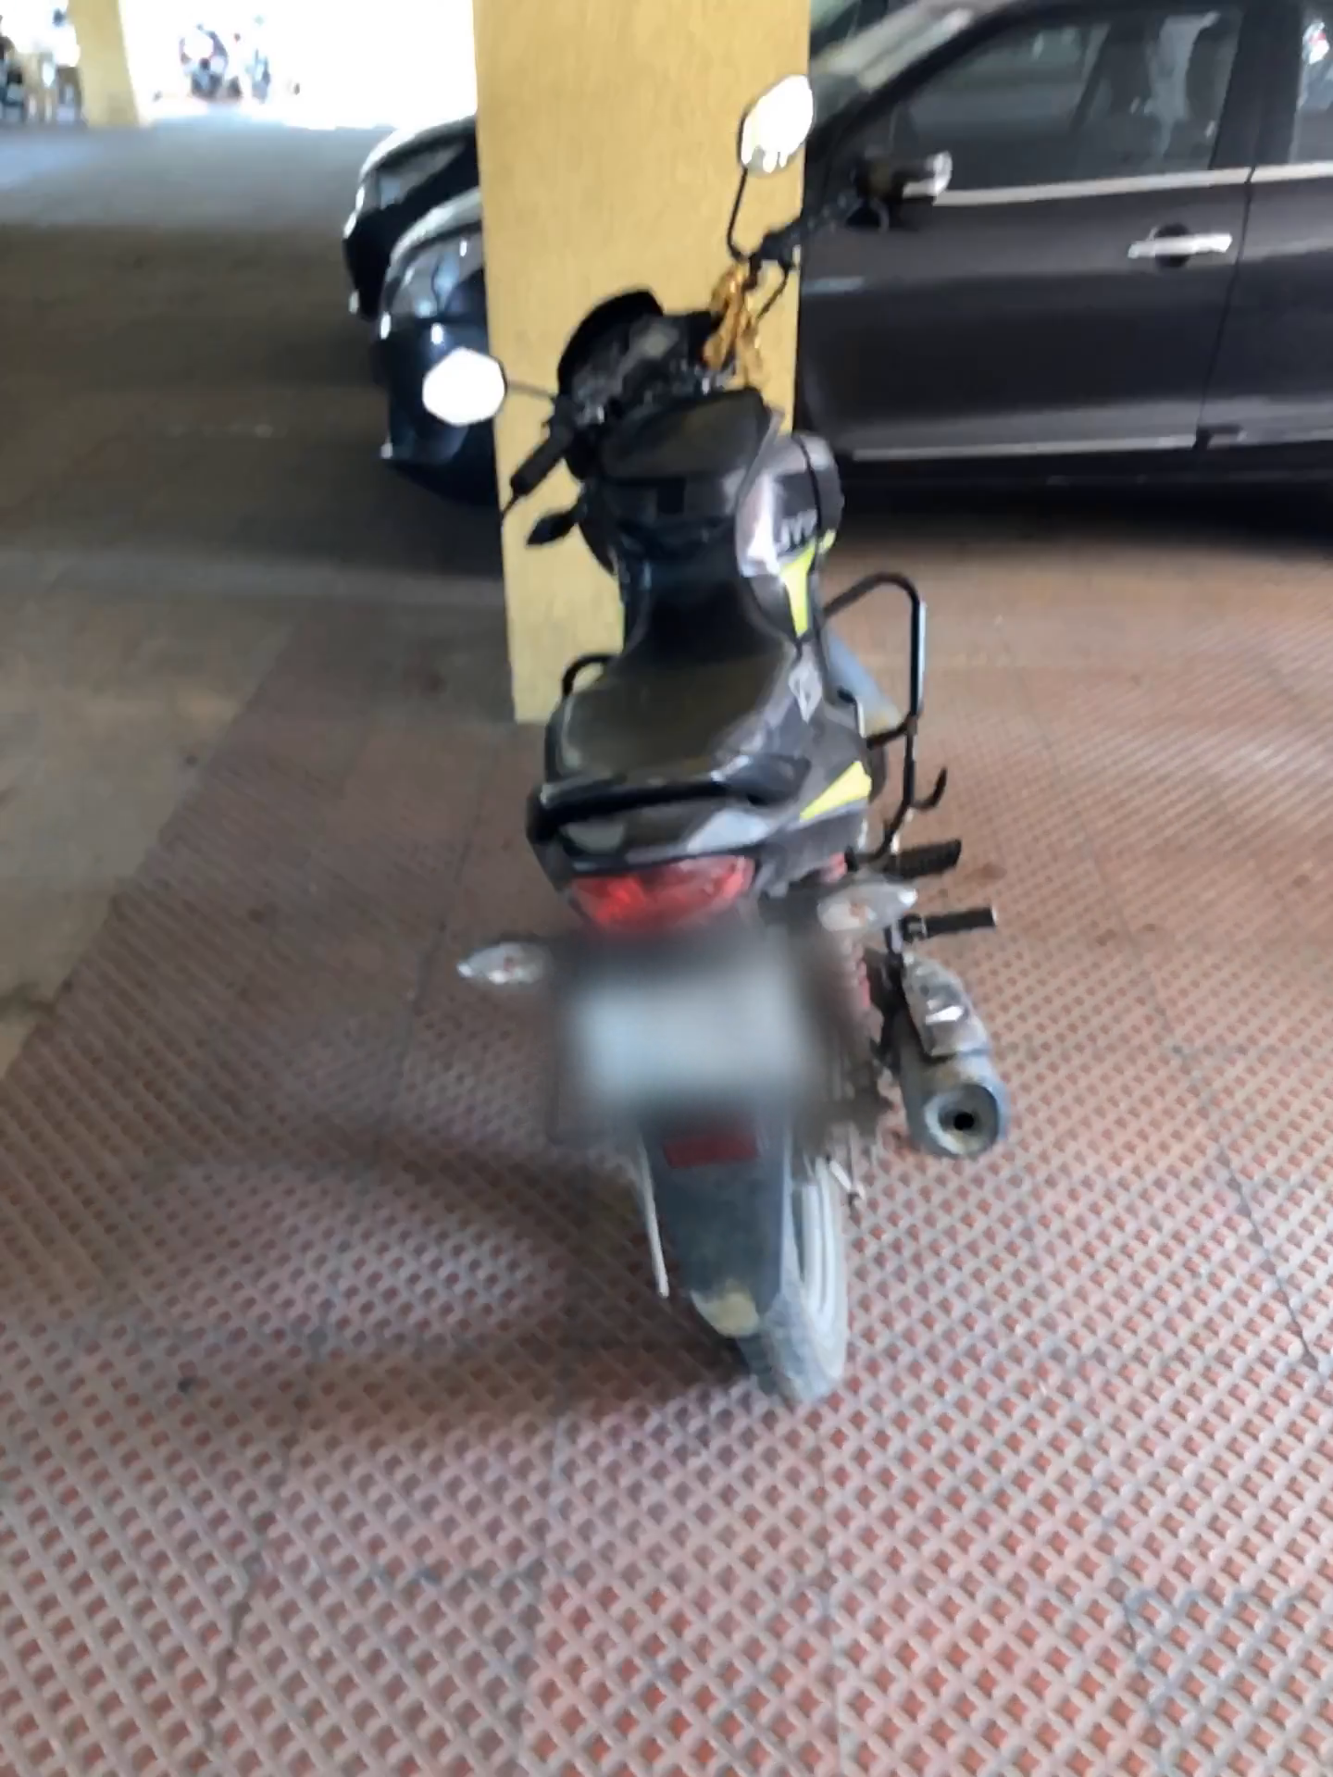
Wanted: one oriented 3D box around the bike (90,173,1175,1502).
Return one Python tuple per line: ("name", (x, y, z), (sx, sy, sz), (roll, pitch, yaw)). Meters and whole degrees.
("bike", (0.021, -0.249, 1.947), (0.716, 1.088, 1.630), (1, 32, 2))
